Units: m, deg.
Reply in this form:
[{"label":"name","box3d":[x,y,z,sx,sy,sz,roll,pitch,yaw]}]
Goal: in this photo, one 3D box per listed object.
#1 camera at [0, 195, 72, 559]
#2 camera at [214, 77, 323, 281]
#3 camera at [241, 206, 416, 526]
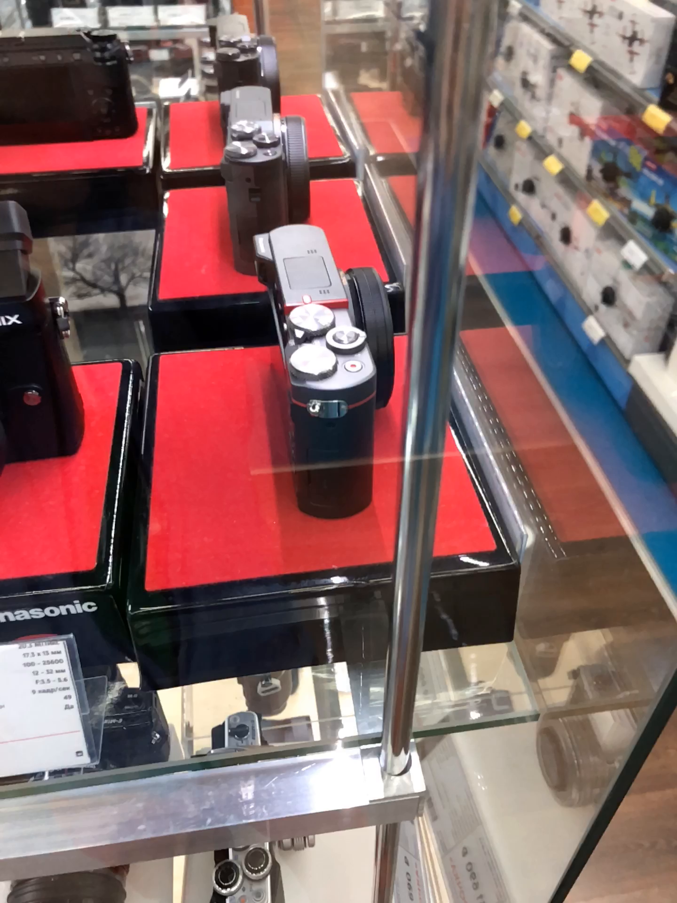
[{"label":"camera","box3d":[-0.171,-0.027,0.276,0.113,0.101,0.069,-6,42,-7]},{"label":"camera","box3d":[-0.040,-0.158,0.427,0.051,0.070,0.113,-4,42,-4]},{"label":"camera","box3d":[-0.008,-0.038,0.298,0.050,0.070,0.113,-5,42,-6]}]
